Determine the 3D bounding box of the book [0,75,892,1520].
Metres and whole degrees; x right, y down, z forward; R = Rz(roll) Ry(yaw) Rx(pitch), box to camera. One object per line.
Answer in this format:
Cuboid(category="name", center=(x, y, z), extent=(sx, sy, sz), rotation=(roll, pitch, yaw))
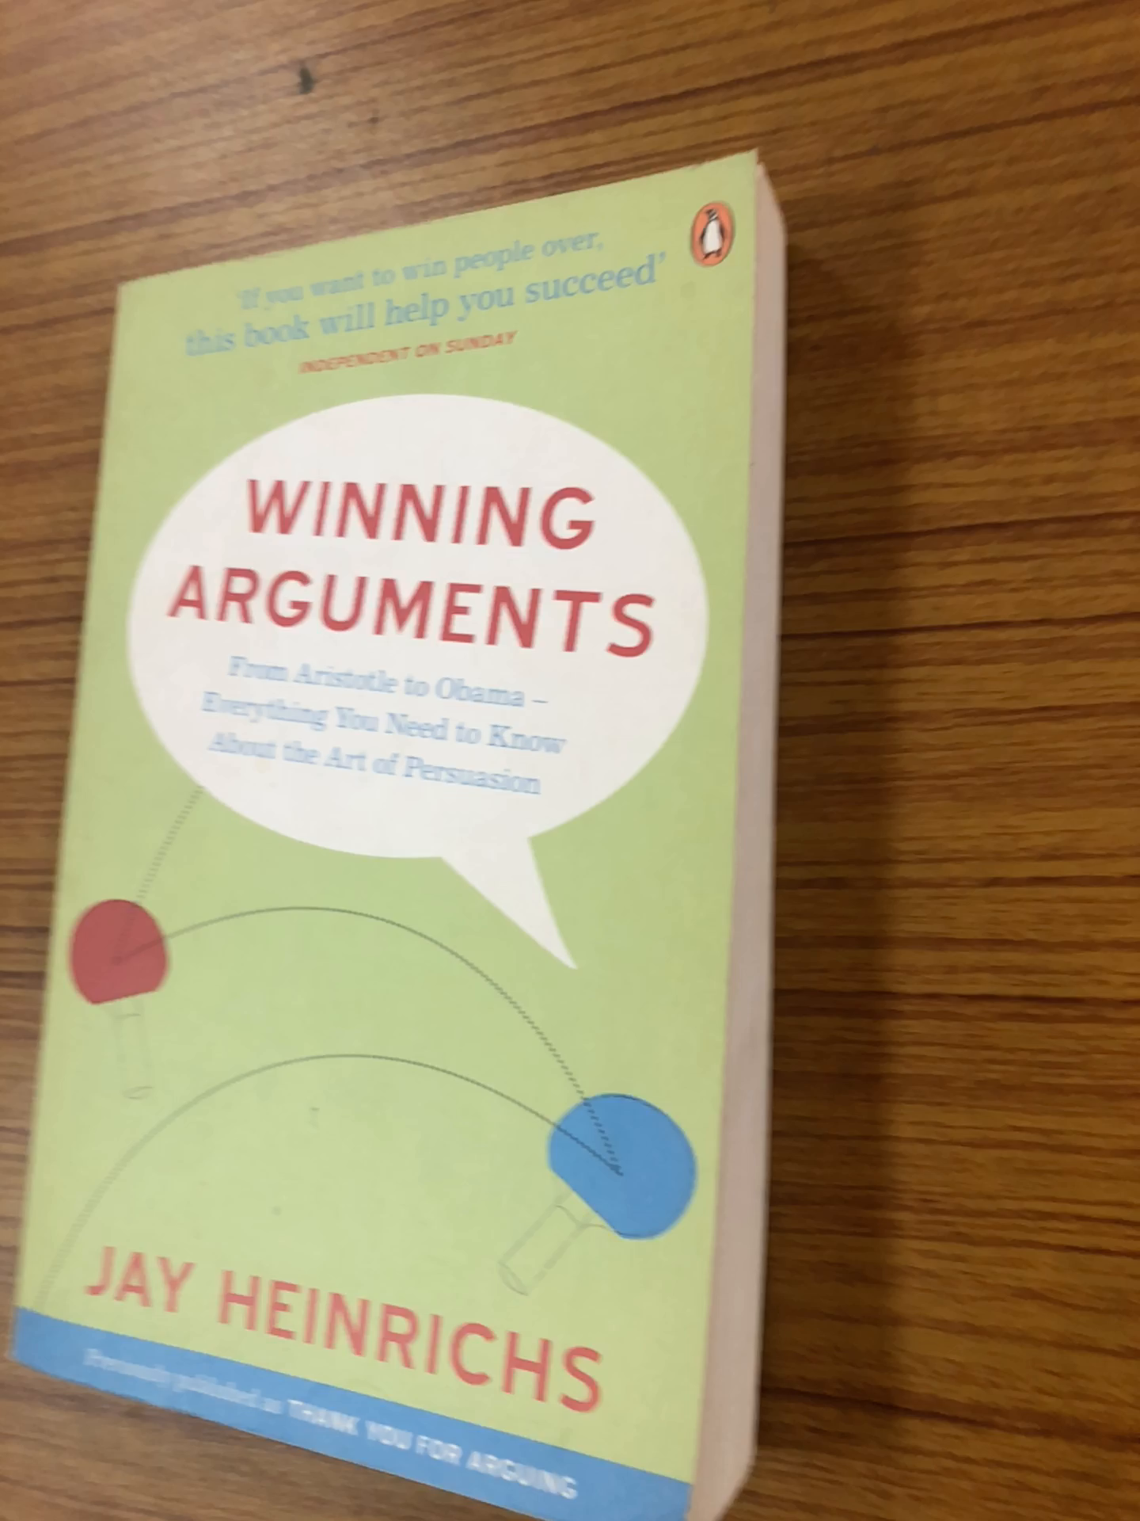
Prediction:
Cuboid(category="book", center=(-0.023, 0.008, 0.213), extent=(0.140, 0.030, 0.210), rotation=(0, 83, 24))
